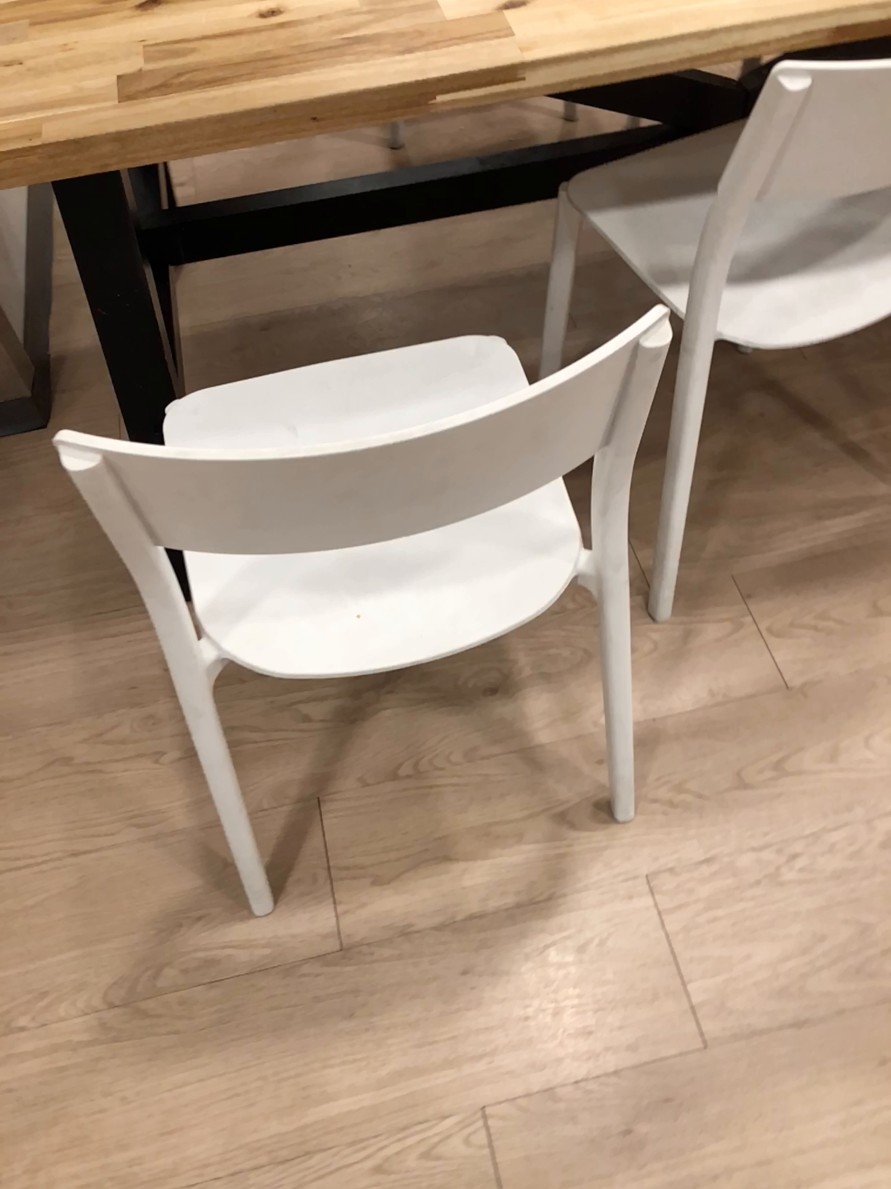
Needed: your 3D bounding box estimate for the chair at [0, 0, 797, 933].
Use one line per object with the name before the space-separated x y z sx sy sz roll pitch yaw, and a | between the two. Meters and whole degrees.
chair | -0.086 -0.094 1.031 0.530 0.716 0.563 -14 55 -5
